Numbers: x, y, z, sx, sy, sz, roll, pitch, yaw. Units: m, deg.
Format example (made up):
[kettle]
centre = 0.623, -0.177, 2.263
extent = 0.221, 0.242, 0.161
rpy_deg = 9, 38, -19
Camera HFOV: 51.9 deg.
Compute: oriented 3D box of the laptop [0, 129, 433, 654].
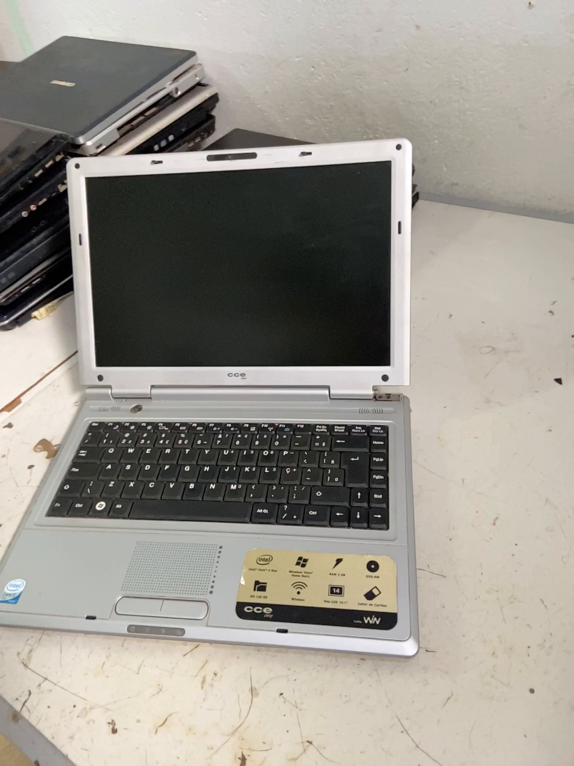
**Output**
[laptop]
centre = -0.064, -0.021, 0.501
extent = 0.338, 0.190, 0.389
rpy_deg = 0, 46, 10
